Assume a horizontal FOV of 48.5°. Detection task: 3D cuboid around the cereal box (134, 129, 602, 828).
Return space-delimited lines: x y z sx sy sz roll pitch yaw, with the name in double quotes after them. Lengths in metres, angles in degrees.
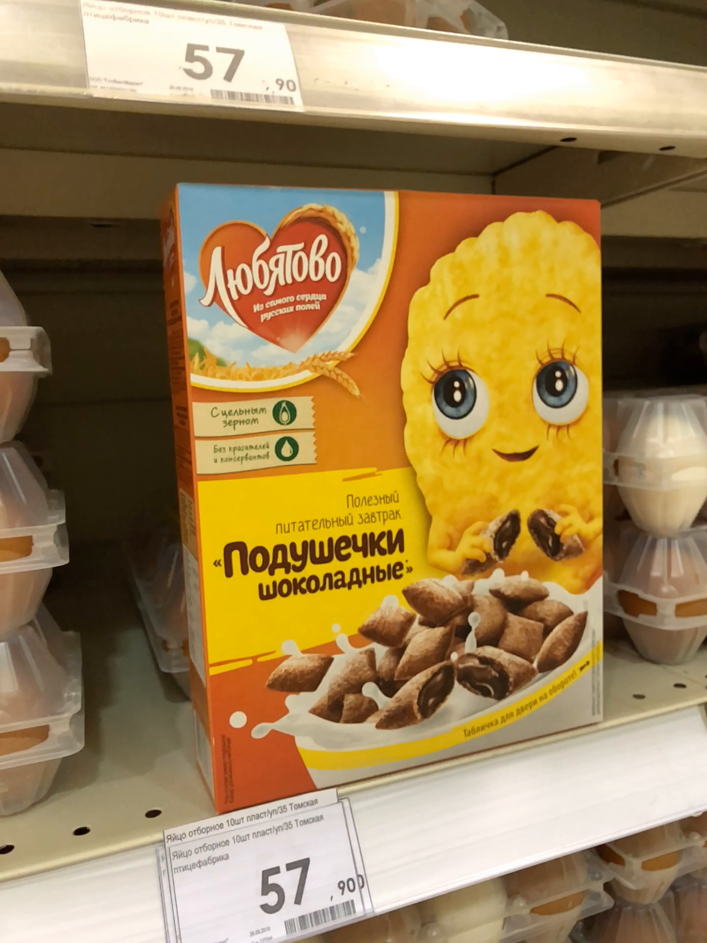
0.014 -0.001 0.318 0.180 0.240 0.040 -5 7 -21 "cereal box"
